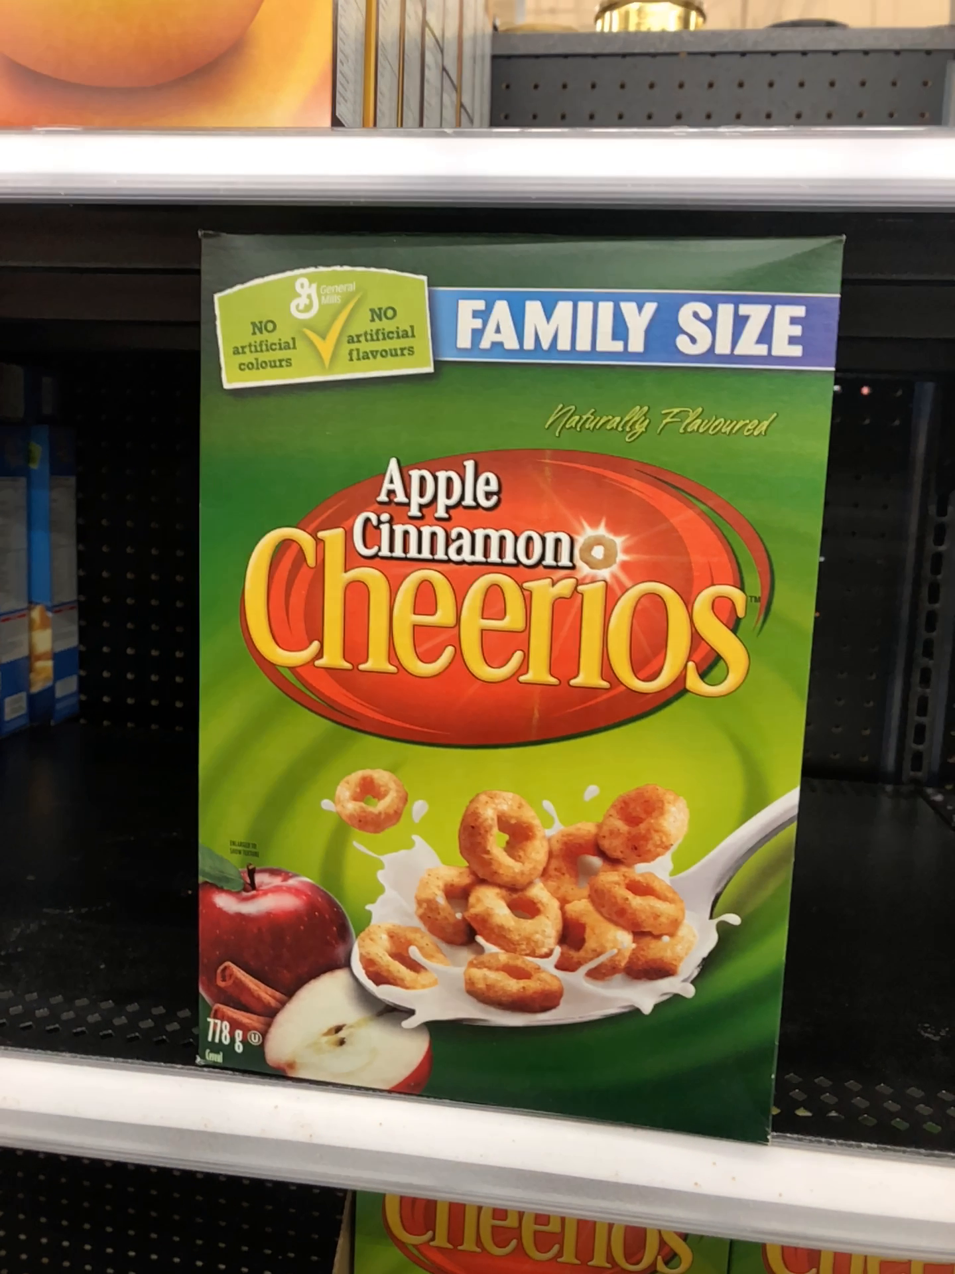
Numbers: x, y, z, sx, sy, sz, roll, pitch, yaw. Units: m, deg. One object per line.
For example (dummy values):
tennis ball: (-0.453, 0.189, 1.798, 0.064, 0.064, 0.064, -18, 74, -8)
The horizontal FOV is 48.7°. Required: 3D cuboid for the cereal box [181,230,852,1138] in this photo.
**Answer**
cereal box: (0.008, 0.013, 0.435, 0.240, 0.329, 0.080, 3, 8, 9)
